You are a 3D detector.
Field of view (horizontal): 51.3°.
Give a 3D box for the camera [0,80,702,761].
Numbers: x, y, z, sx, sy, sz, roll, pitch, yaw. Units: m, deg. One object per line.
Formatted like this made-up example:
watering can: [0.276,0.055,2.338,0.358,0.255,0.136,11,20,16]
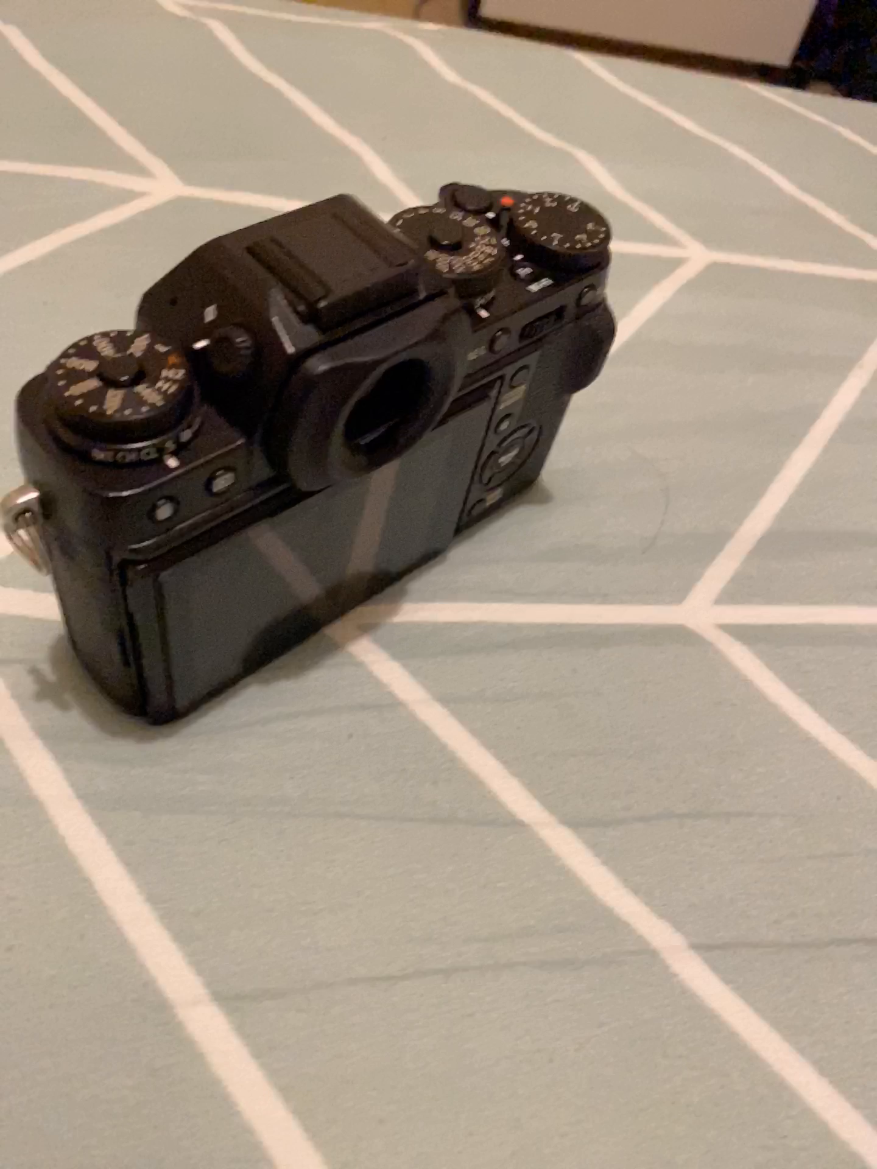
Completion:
camera: [-0.019,-0.037,0.192,0.130,0.087,0.052,-33,66,-31]
